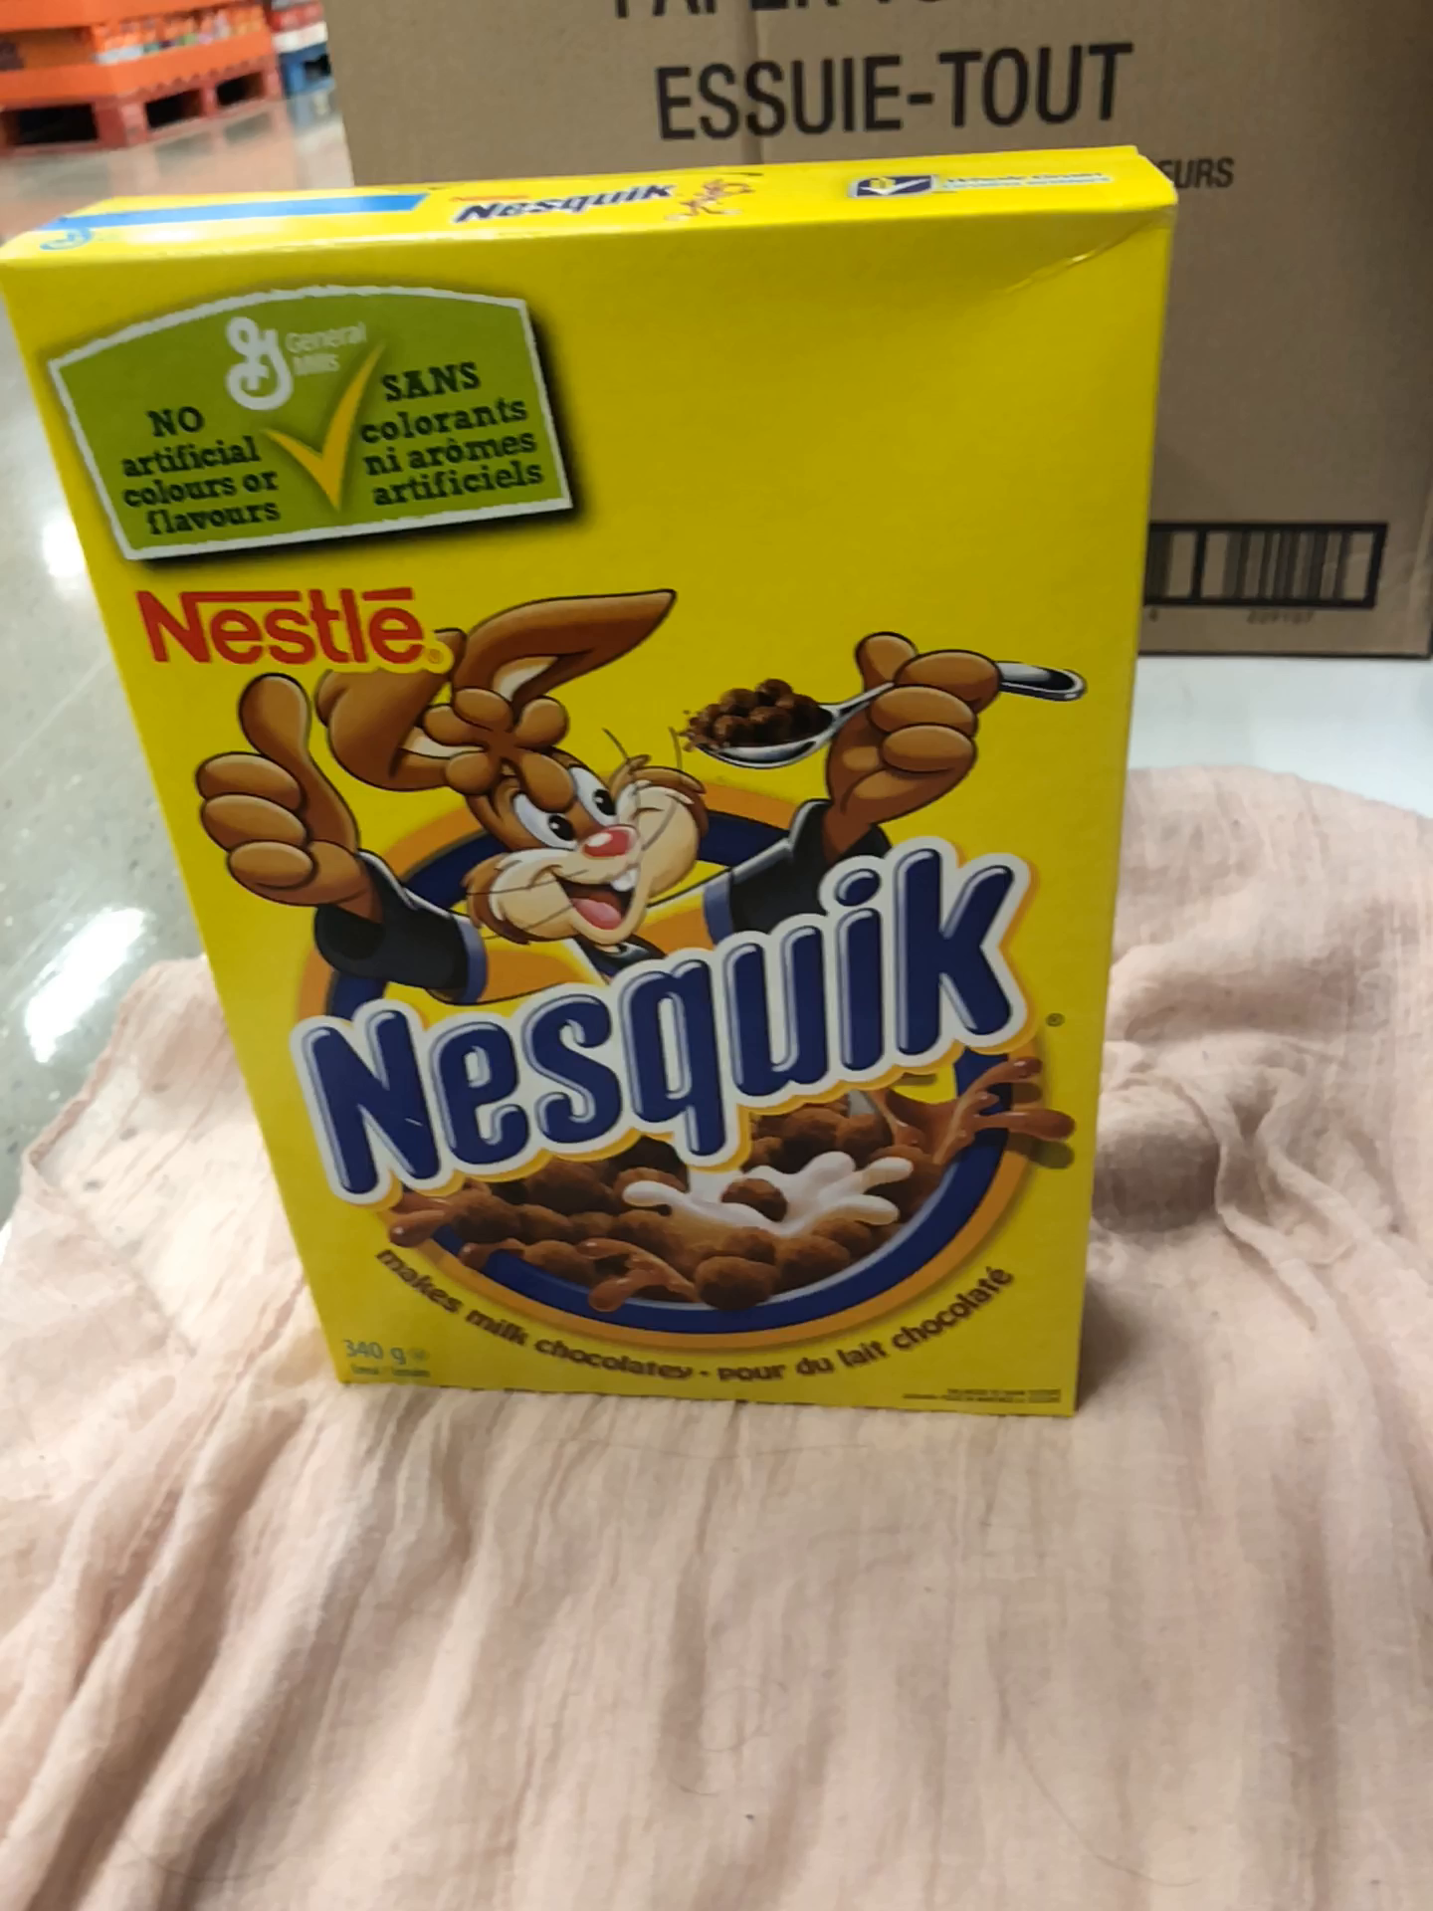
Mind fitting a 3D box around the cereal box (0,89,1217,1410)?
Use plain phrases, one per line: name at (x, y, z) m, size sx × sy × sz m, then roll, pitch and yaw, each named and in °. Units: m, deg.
cereal box at (-0.017, -0.021, 0.329) m, size 0.200 × 0.259 × 0.060 m, roll 1°, pitch 36°, yaw 9°
